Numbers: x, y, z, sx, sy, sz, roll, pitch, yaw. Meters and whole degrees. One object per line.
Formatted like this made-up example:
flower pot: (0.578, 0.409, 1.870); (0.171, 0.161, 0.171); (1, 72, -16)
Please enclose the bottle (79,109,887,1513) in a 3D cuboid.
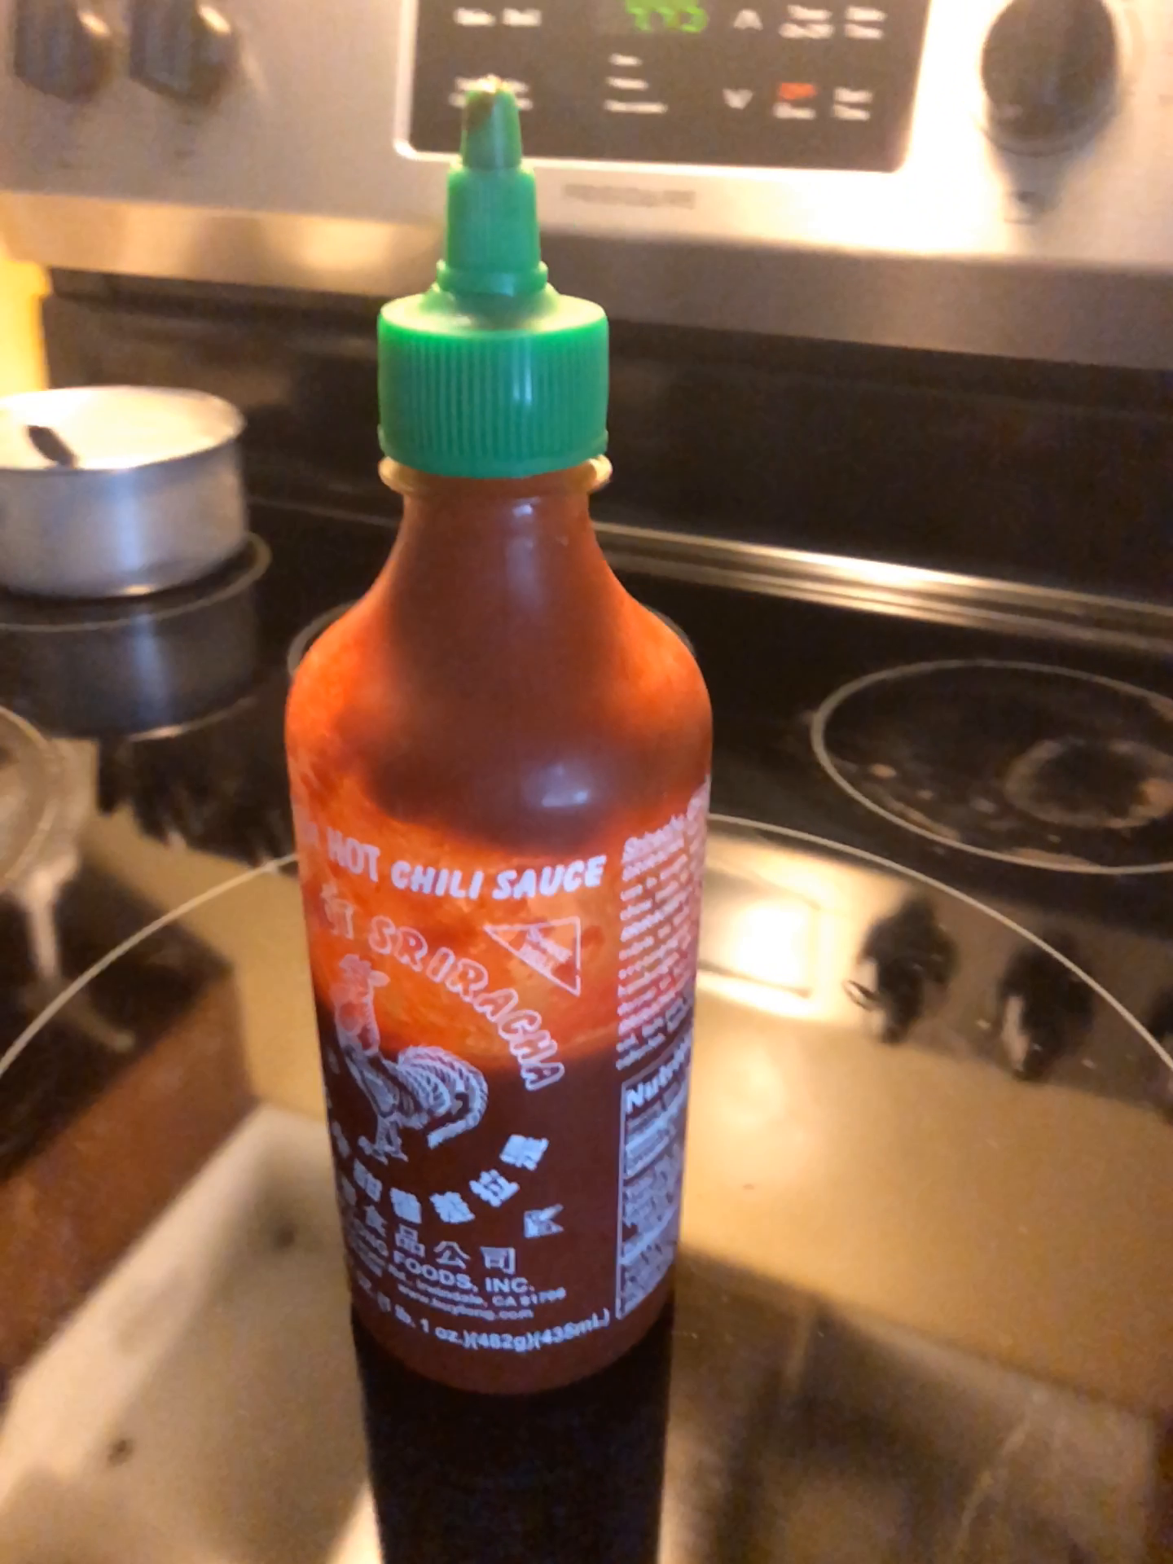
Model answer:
bottle: (-0.010, 0.008, 0.207); (0.070, 0.199, 0.070); (0, 29, 0)
